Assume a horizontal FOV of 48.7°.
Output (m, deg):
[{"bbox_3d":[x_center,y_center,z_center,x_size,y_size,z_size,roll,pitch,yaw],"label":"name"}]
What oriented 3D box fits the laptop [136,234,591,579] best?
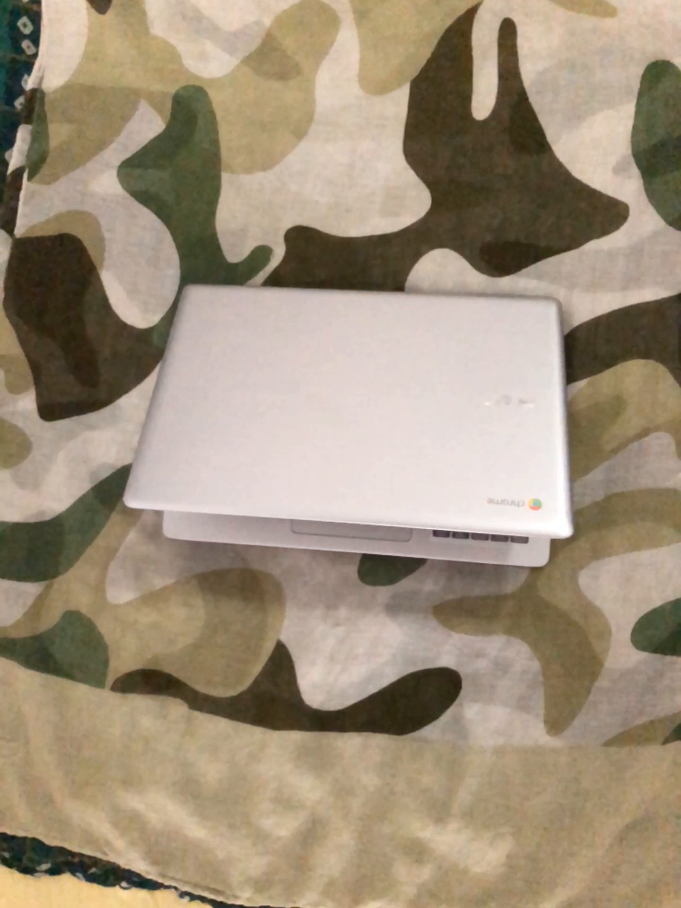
[{"bbox_3d":[0.024,-0.038,0.603,0.311,0.125,0.232,4,80,6],"label":"laptop"}]
